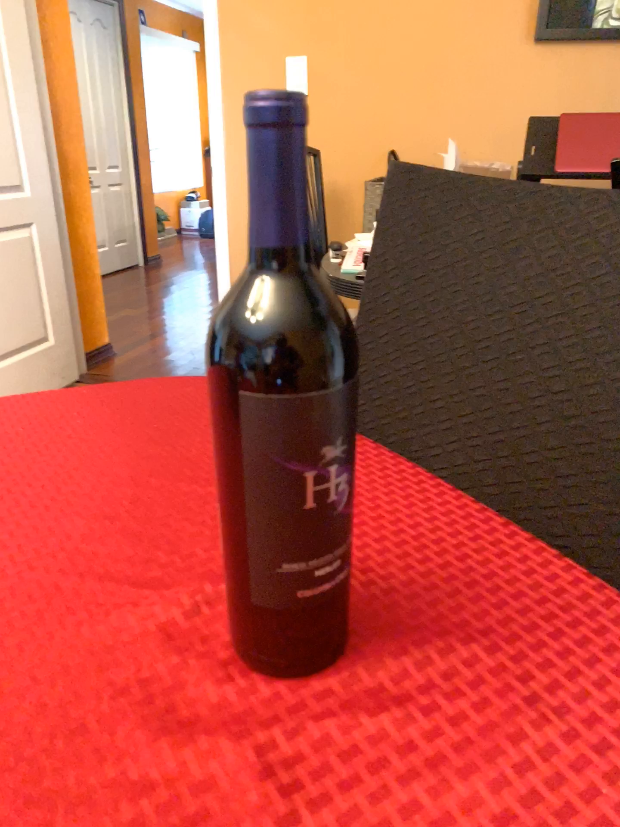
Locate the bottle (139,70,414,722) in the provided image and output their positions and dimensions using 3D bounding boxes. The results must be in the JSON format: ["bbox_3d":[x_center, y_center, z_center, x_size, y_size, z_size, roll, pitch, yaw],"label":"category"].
[{"bbox_3d":[-0.015,-0.001,0.312,0.080,0.289,0.080,0,23,0],"label":"bottle"}]
